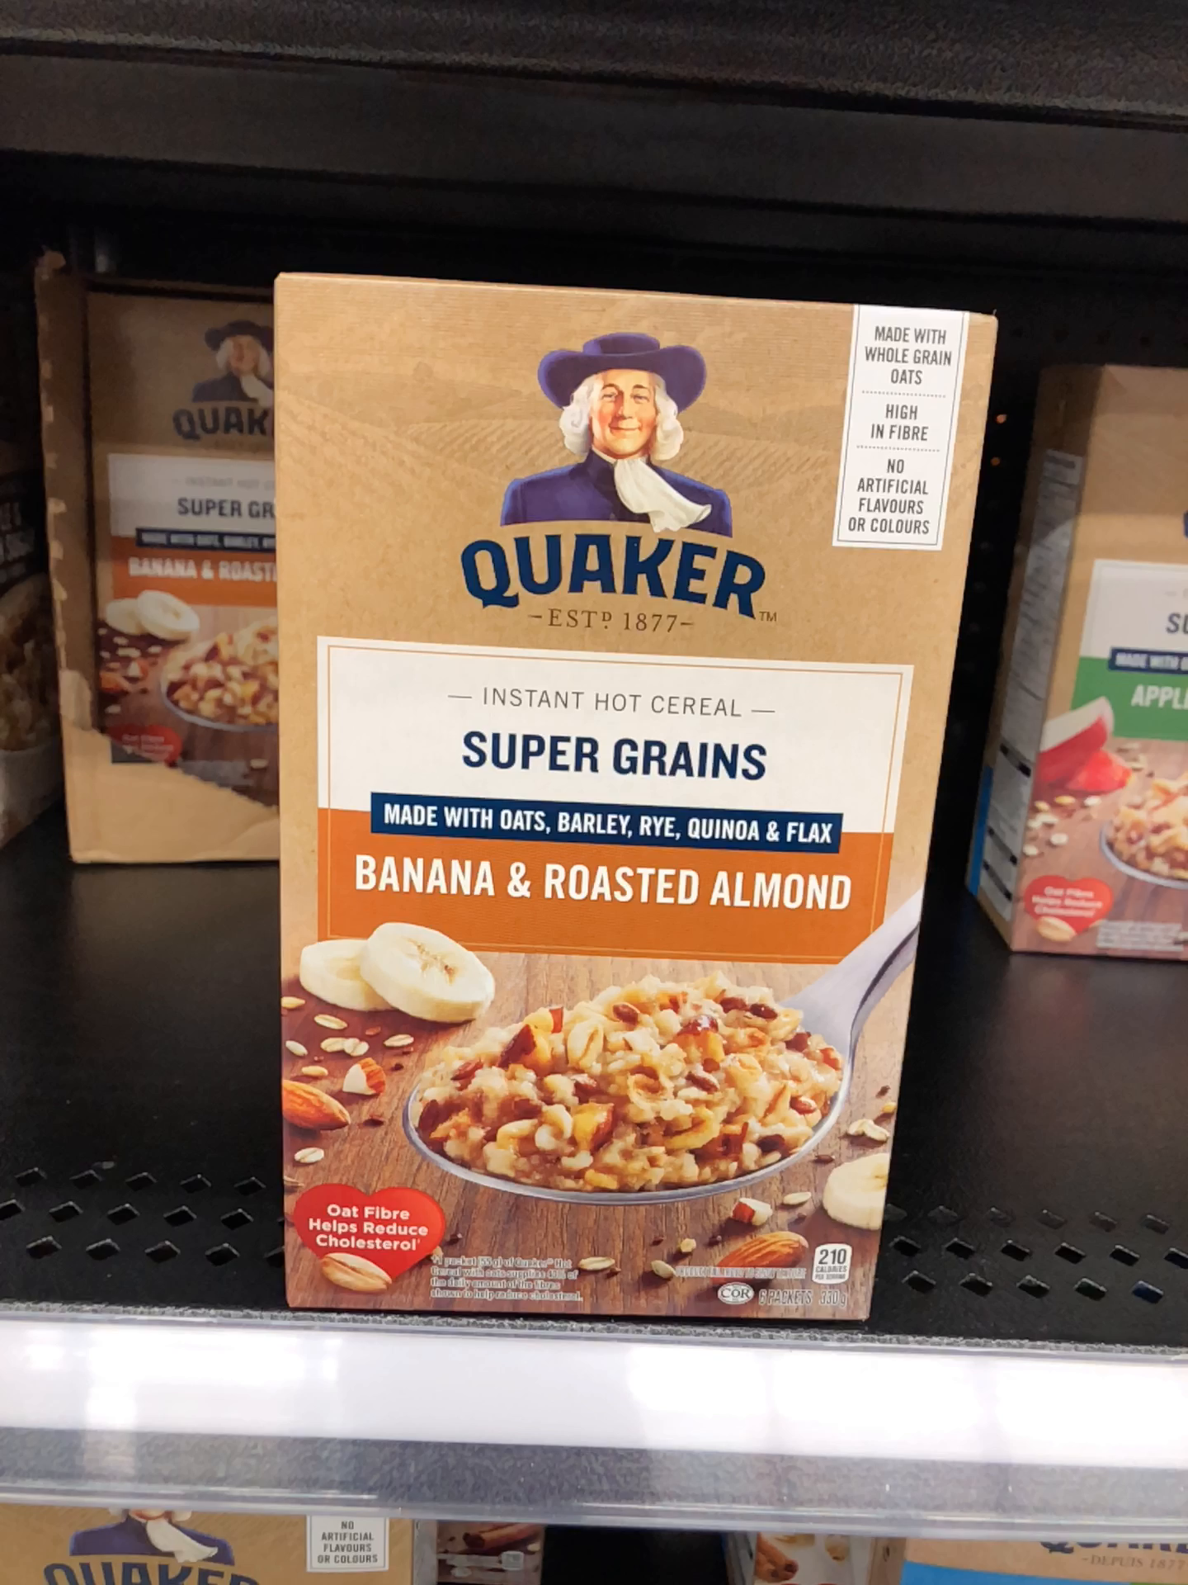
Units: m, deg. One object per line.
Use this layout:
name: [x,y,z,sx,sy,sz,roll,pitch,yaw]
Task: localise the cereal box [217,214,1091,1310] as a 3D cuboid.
cereal box: [0.004,-0.003,0.258,0.130,0.189,0.070,2,18,-3]
